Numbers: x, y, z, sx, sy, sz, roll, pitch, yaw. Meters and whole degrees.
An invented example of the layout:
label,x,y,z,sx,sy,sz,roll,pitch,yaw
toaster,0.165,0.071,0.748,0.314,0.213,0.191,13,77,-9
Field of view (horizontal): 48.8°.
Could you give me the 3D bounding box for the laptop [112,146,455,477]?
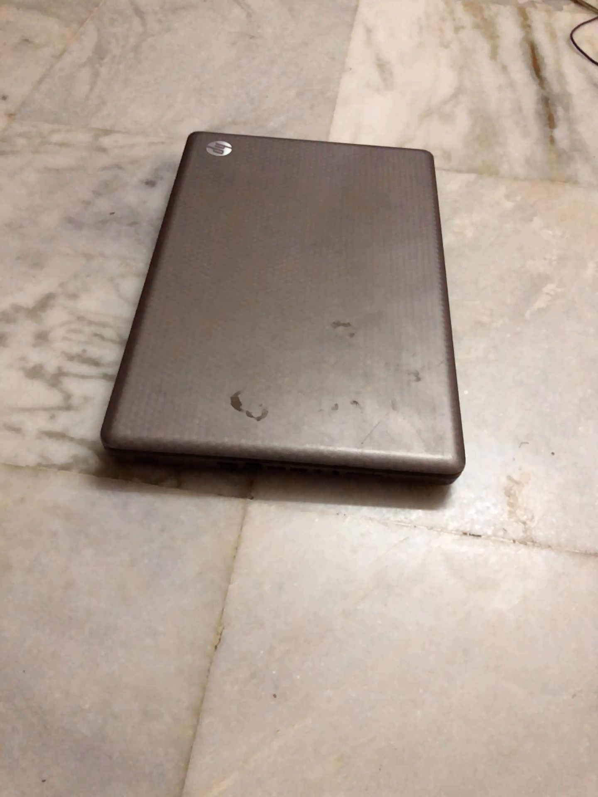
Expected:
label,x,y,z,sx,sy,sz,roll,pitch,yaw
laptop,0.002,-0.106,0.588,0.248,0.002,0.380,5,54,1
